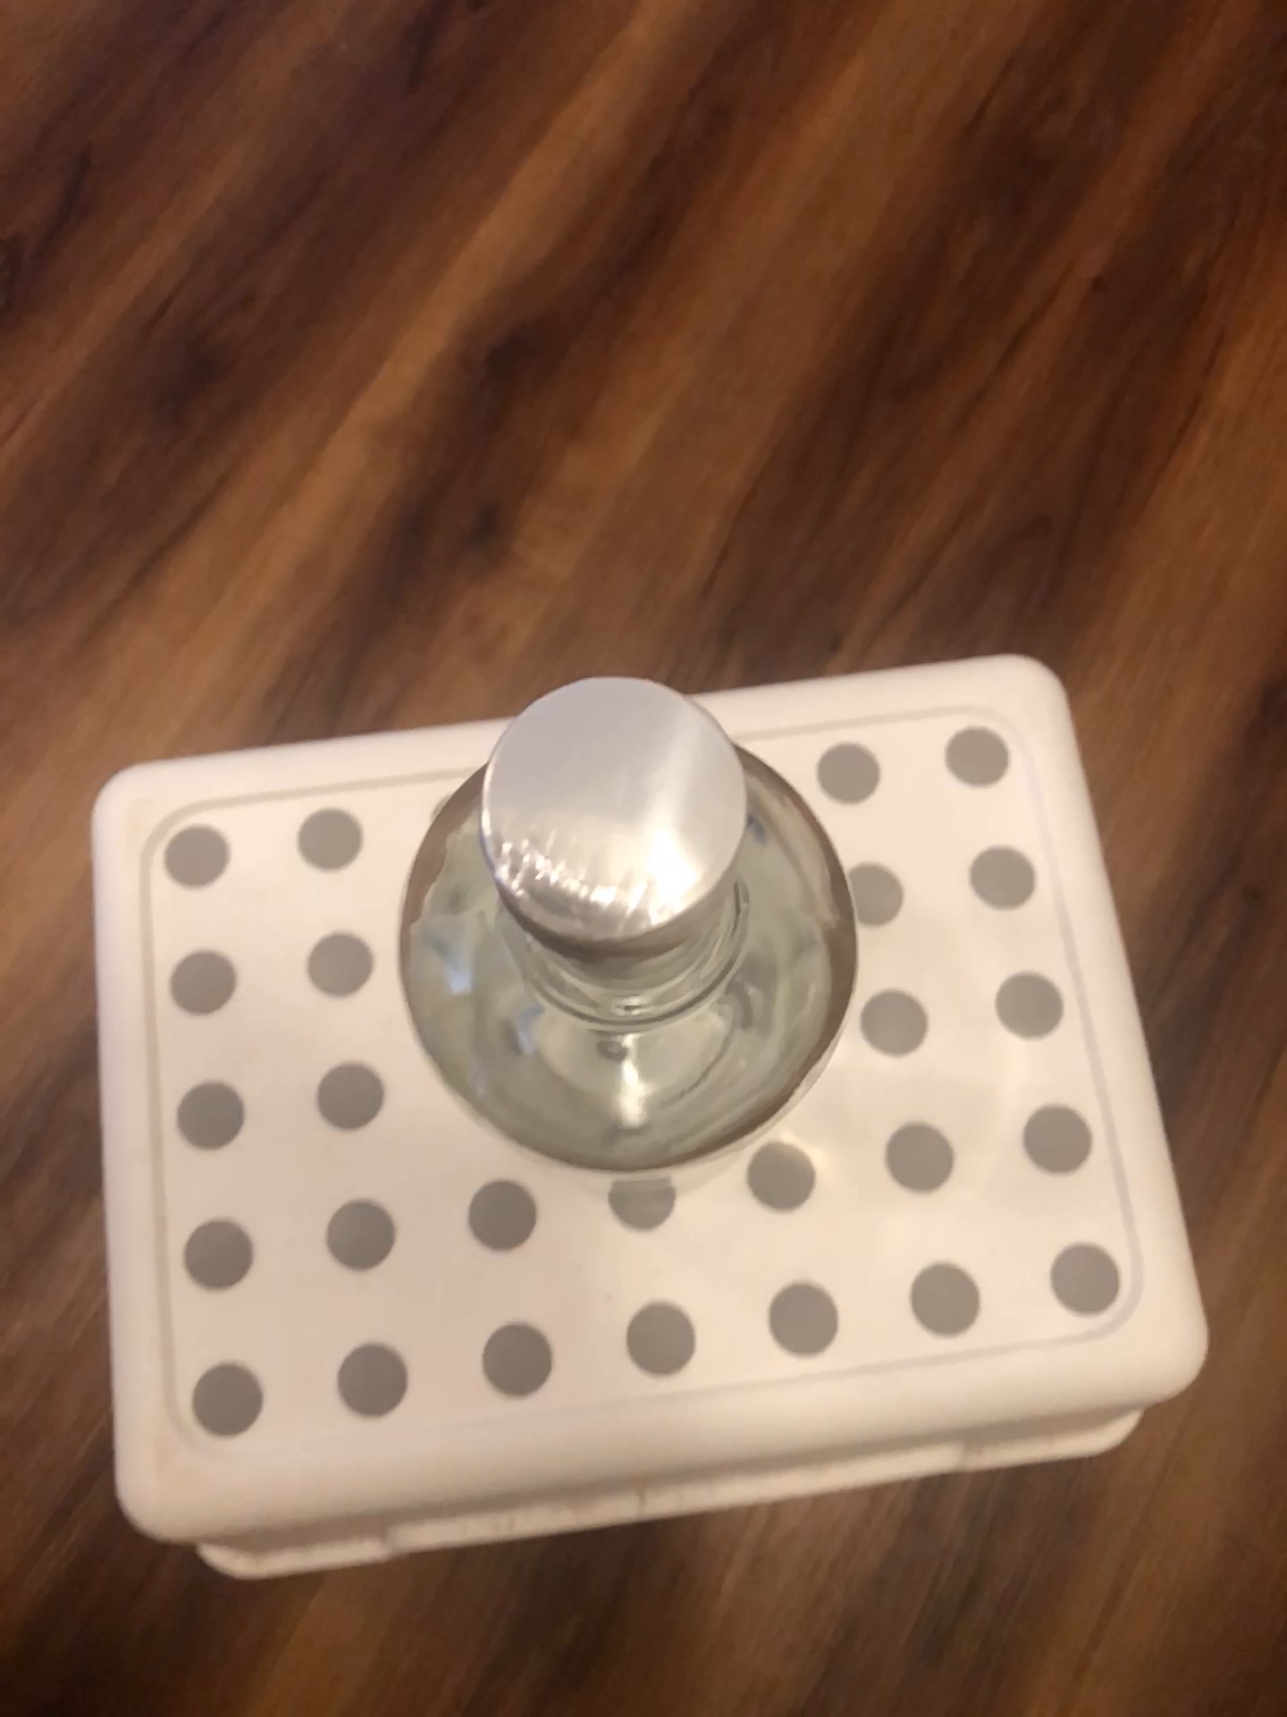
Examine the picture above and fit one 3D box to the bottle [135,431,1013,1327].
[{"bbox_3d":[-0.007,0.033,0.317,0.090,0.270,0.100,15,75,4],"label":"bottle"}]
